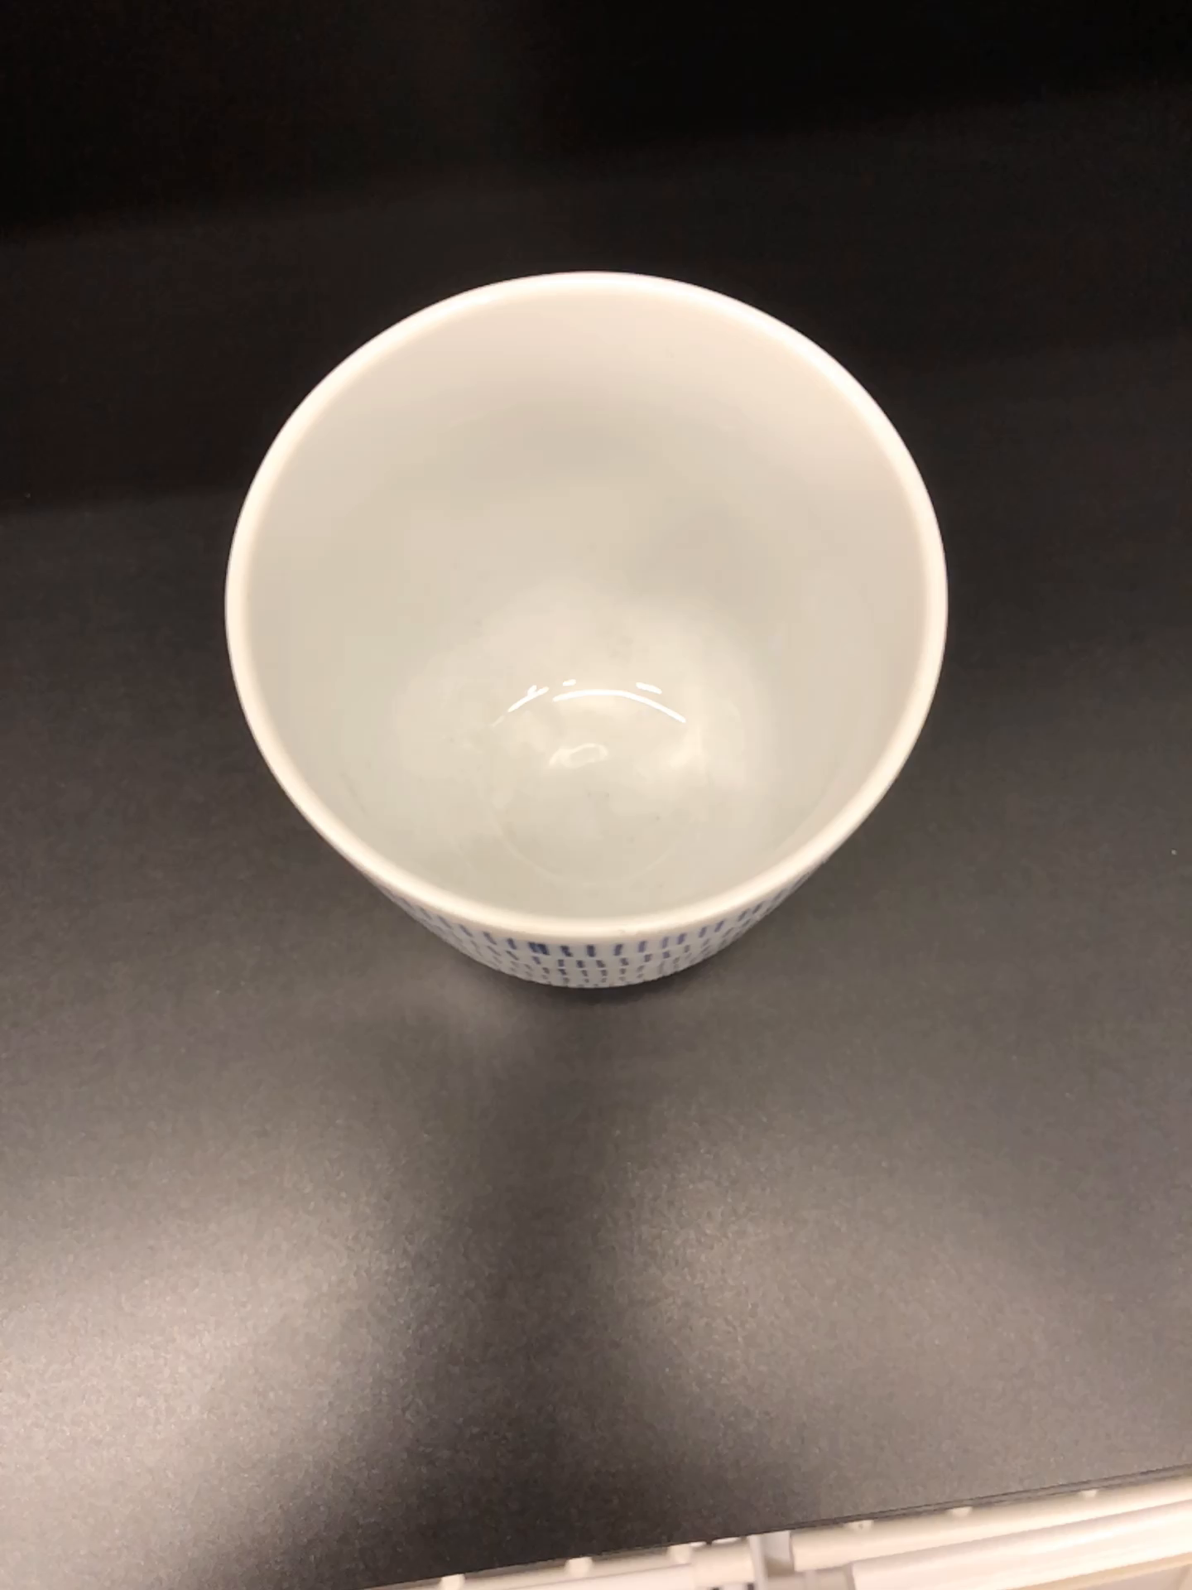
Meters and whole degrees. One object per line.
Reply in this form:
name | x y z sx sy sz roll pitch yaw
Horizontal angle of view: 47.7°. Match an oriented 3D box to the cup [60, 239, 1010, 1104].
cup | -0.009 -0.007 0.157 0.080 0.070 0.070 -7 73 -2
